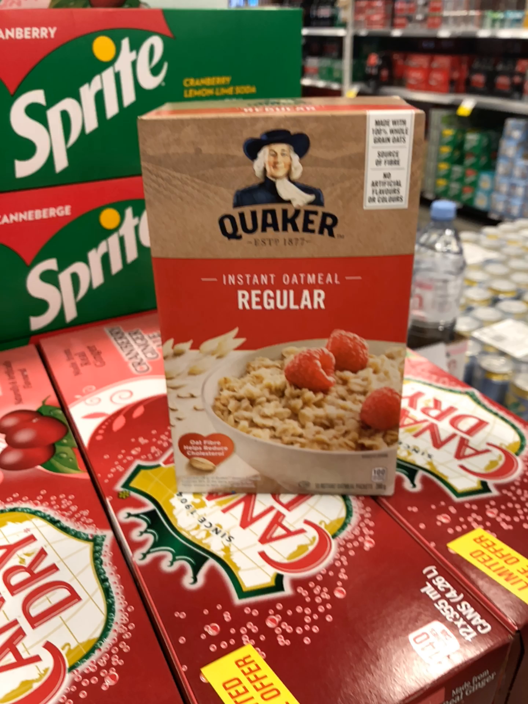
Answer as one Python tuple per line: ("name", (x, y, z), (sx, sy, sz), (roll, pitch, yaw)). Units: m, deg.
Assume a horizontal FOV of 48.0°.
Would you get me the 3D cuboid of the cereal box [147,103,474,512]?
("cereal box", (0.020, -0.020, 0.311), (0.130, 0.199, 0.070), (1, 26, 3))
